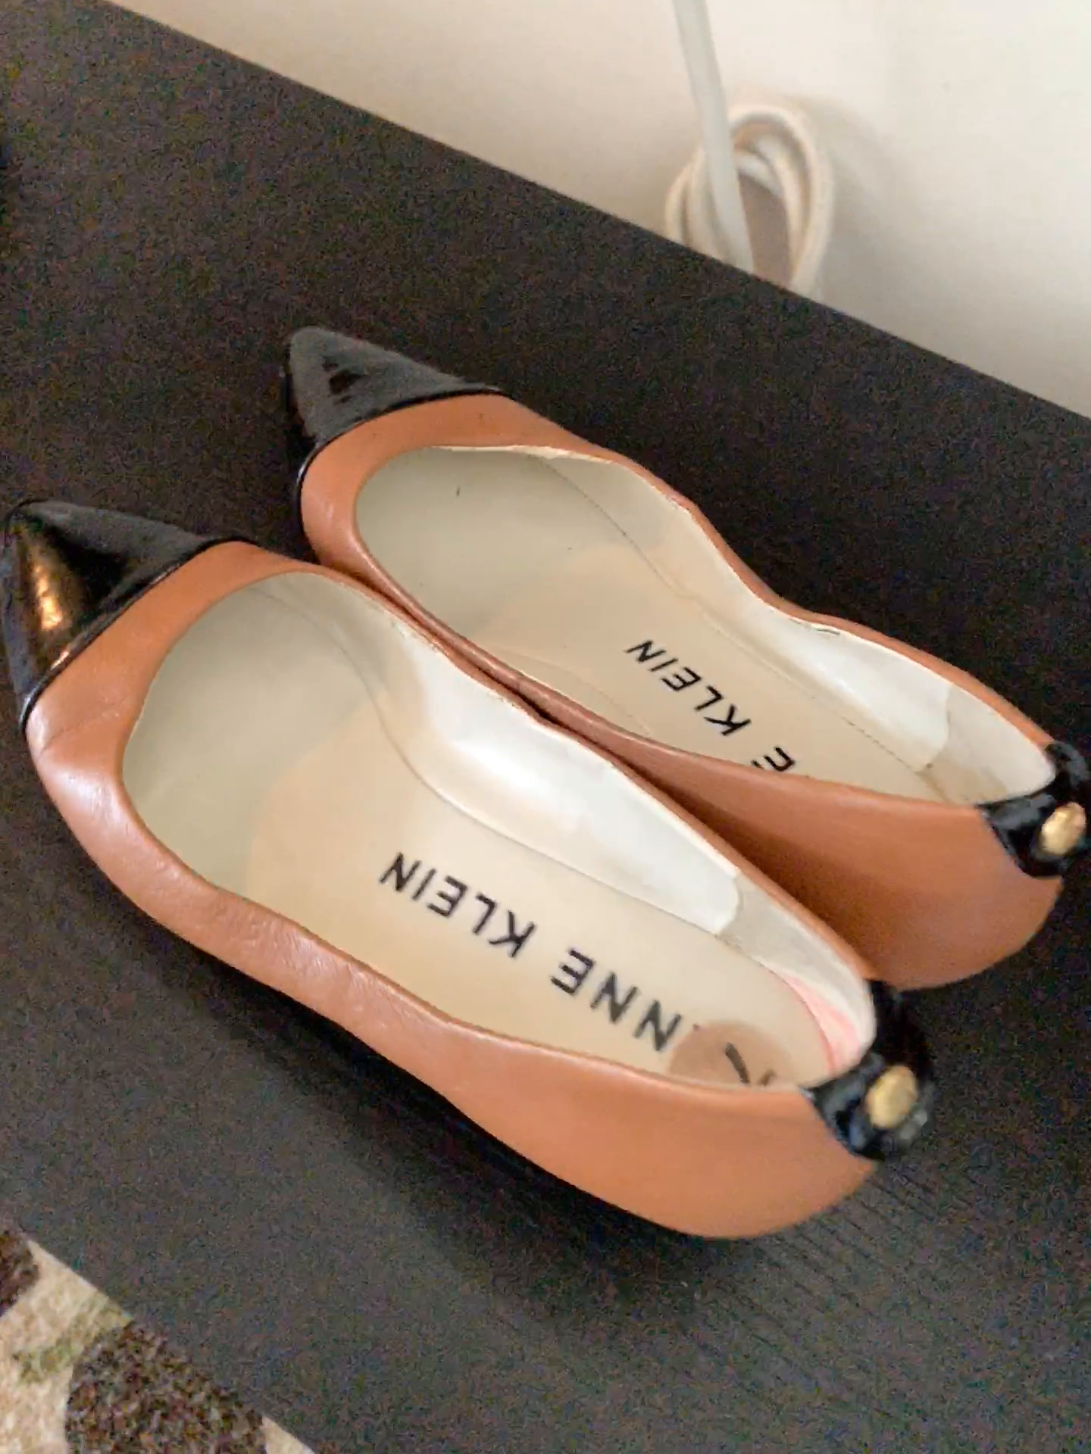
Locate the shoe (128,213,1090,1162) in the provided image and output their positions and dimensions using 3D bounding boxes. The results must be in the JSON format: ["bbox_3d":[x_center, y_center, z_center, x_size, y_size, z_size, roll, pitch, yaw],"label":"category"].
[{"bbox_3d":[0.004,-0.034,0.277,0.080,0.079,0.261,-34,53,-21],"label":"shoe"}]

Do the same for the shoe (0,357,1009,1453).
[{"bbox_3d":[-0.049,0.010,0.251,0.261,0.079,0.090,32,59,32],"label":"shoe"}]
